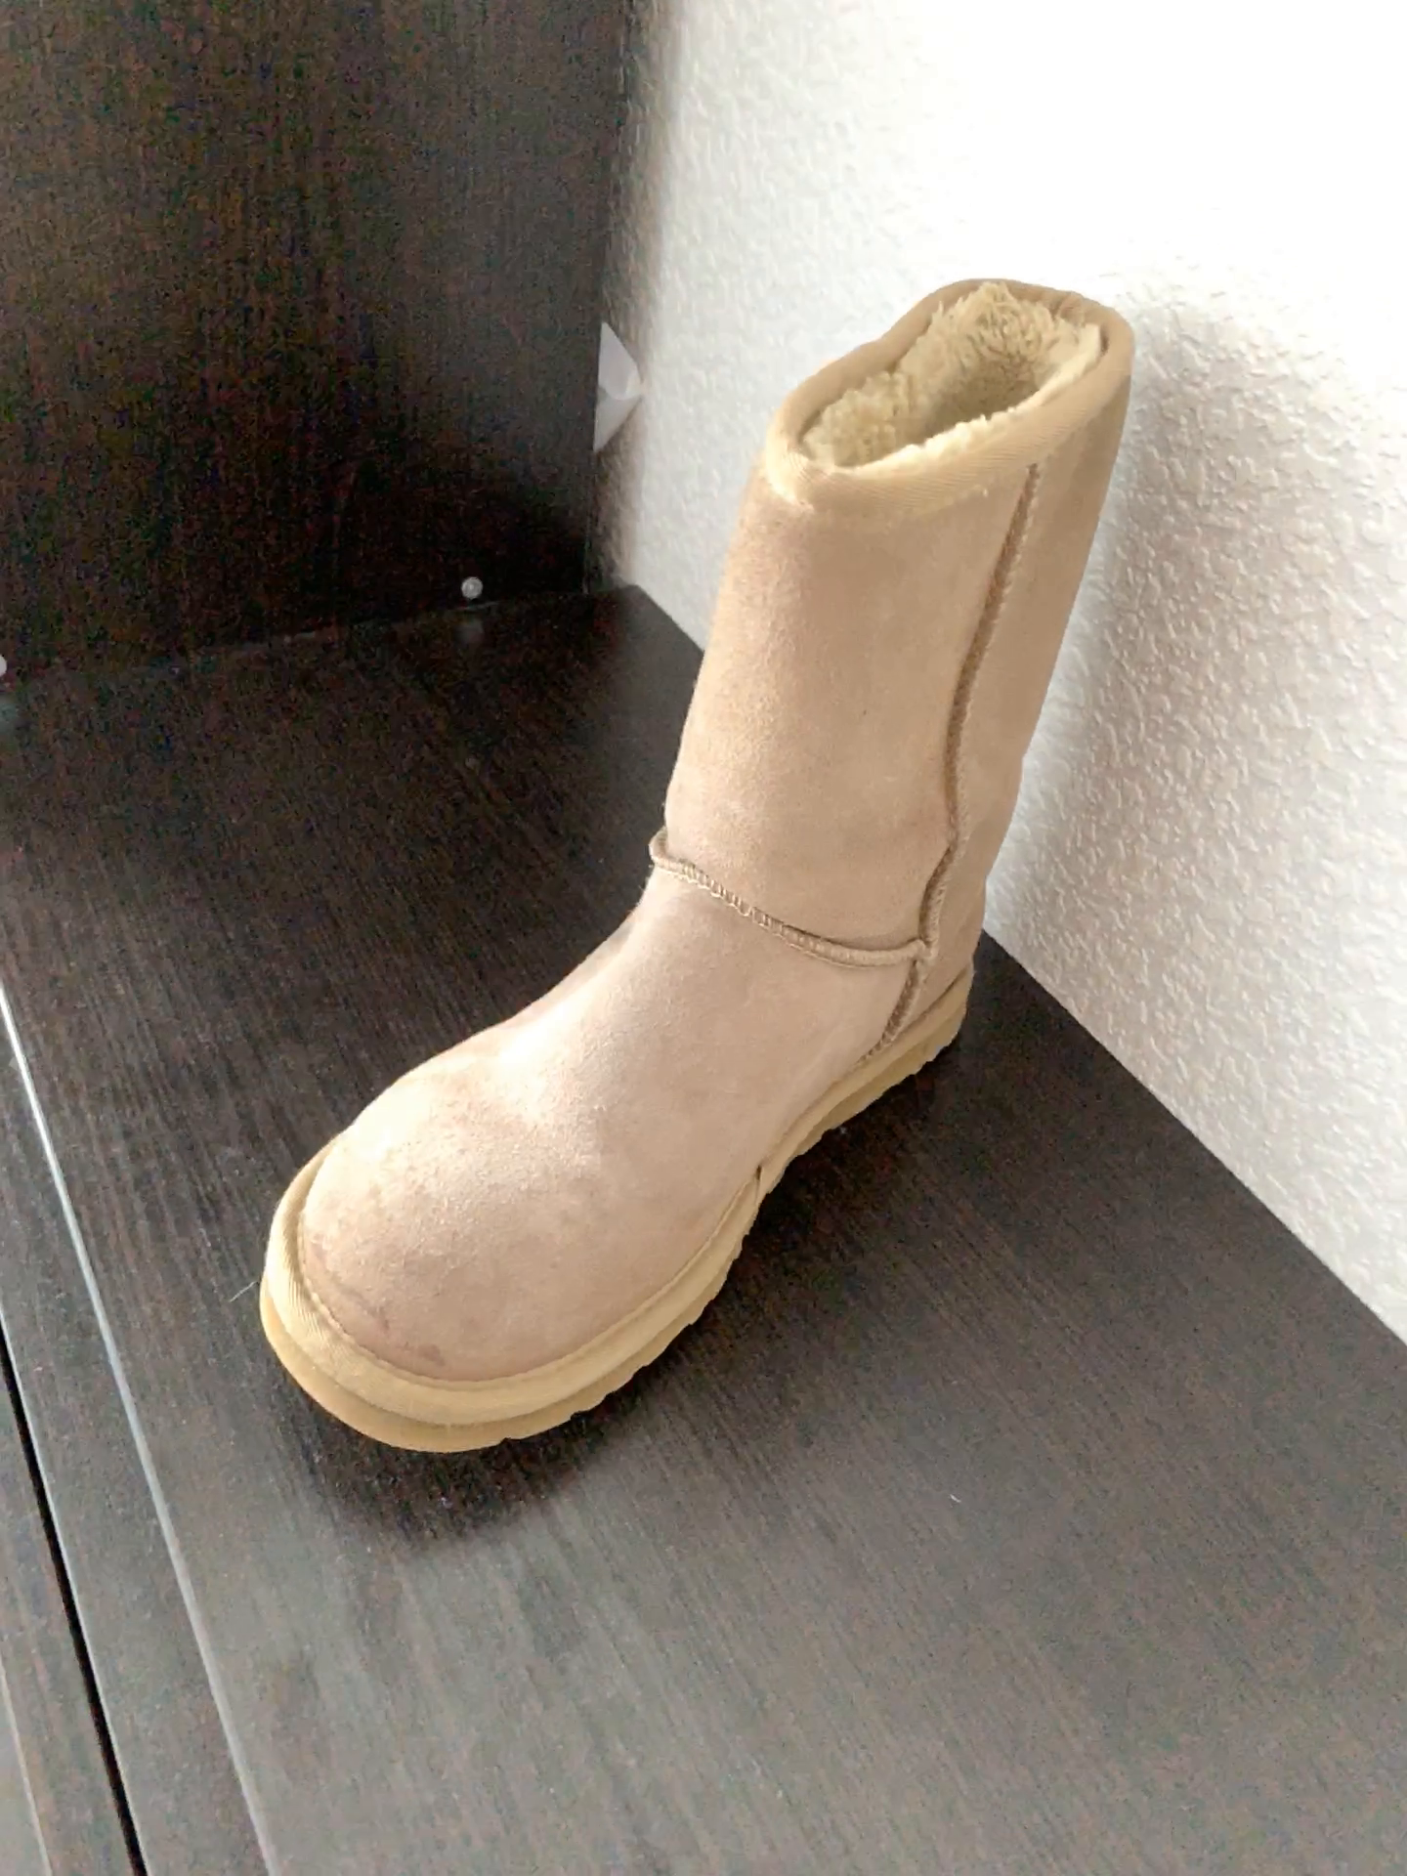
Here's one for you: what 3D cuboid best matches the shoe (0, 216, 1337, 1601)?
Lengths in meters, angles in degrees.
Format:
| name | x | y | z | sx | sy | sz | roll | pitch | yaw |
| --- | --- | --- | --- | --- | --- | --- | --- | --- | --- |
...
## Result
| name | x | y | z | sx | sy | sz | roll | pitch | yaw |
| --- | --- | --- | --- | --- | --- | --- | --- | --- | --- |
| shoe | 0.004 | -0.022 | 0.357 | 0.116 | 0.229 | 0.261 | 34 | 47 | 27 |
